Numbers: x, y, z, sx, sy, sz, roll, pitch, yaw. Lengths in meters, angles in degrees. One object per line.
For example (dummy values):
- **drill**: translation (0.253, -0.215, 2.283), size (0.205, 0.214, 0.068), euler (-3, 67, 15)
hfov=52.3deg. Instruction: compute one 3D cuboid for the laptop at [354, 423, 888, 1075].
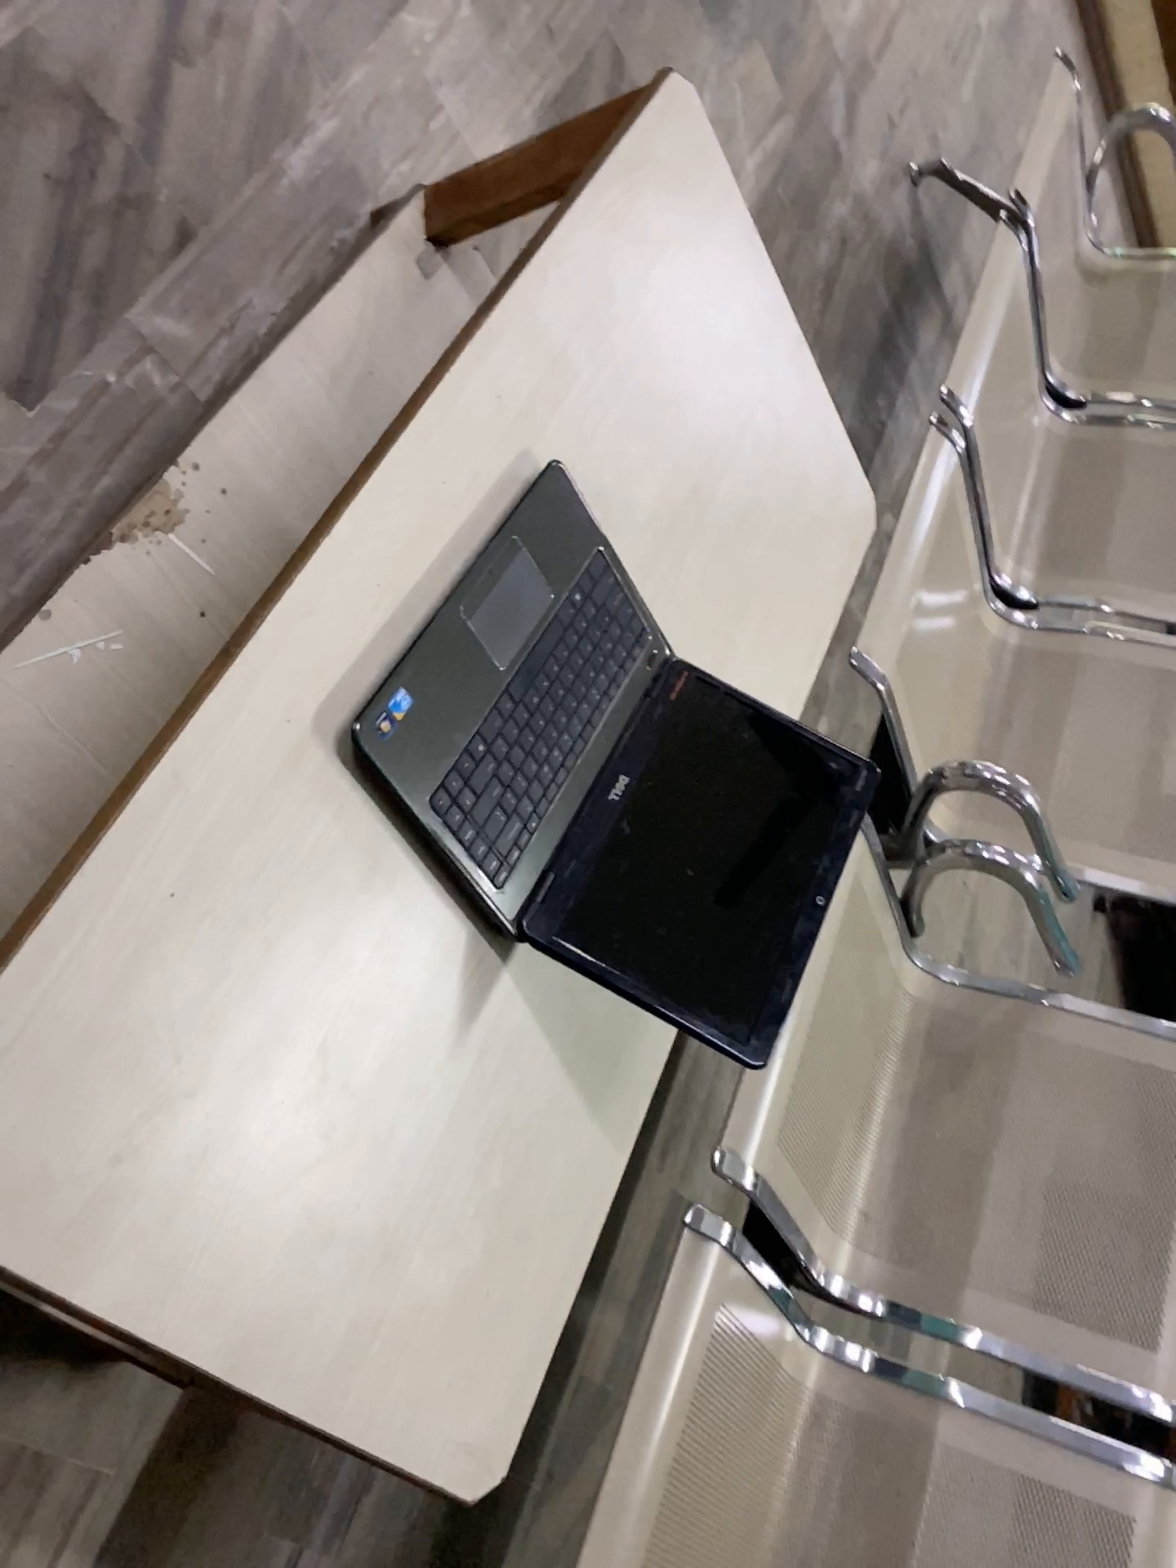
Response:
- **laptop**: translation (0.060, -0.020, 0.963), size (0.379, 0.152, 0.329), euler (56, 49, -34)
